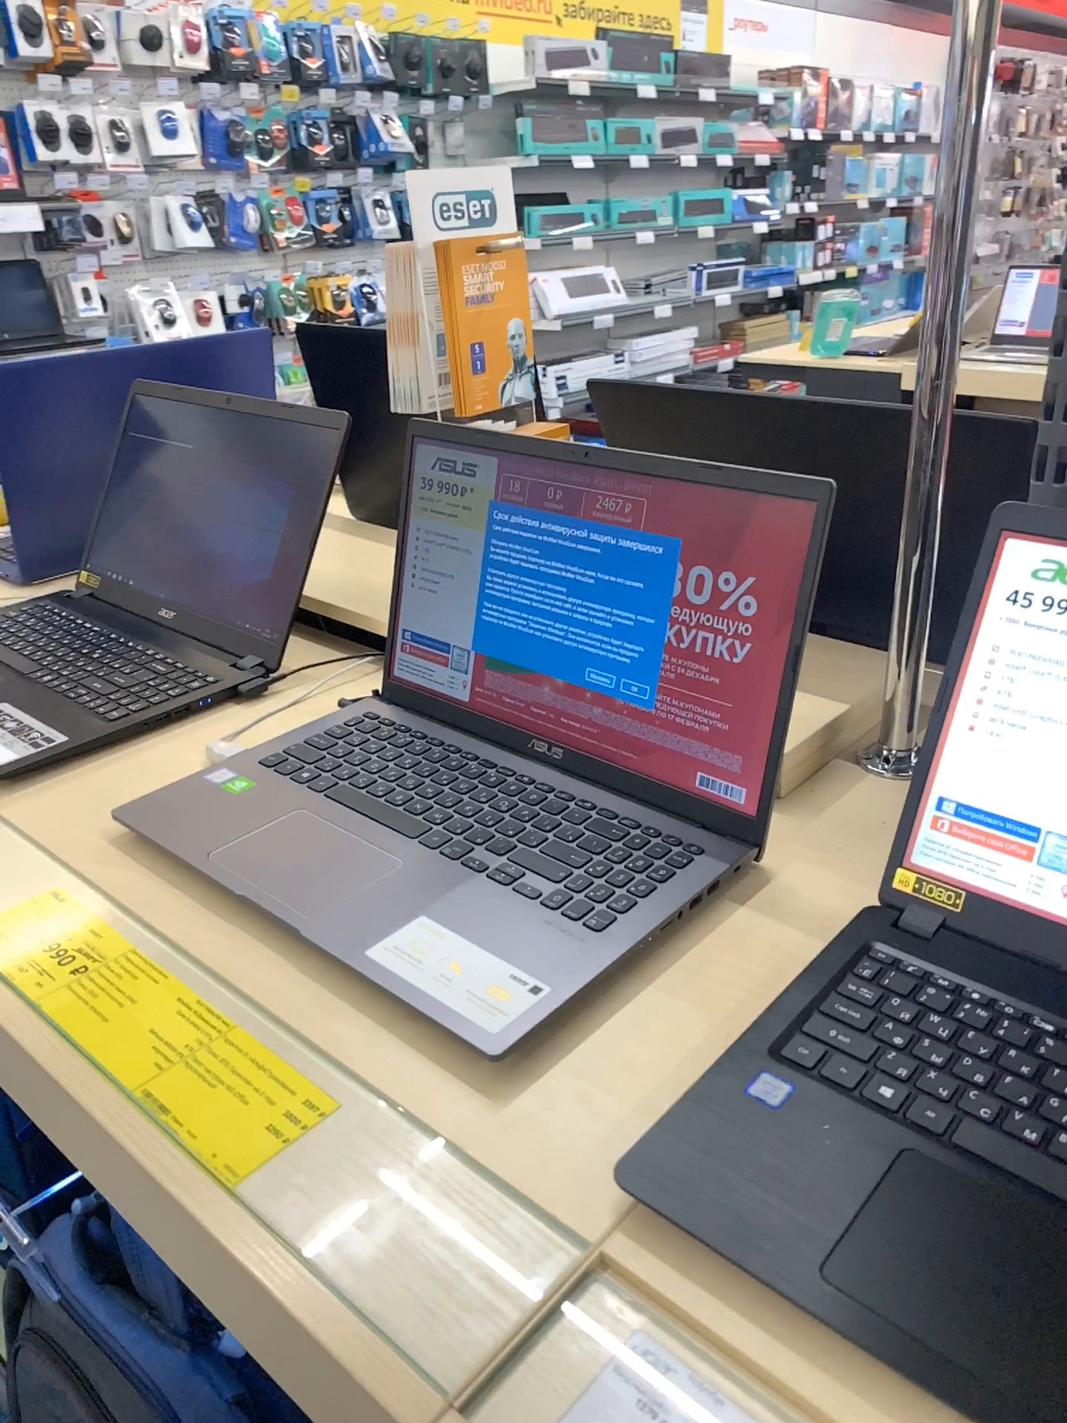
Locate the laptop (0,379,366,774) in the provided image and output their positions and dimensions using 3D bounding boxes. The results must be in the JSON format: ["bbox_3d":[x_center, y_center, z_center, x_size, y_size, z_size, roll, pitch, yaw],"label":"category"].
[{"bbox_3d":[-0.419,-0.155,0.992,0.351,0.214,0.362,20,32,38],"label":"laptop"}]

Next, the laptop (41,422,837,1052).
[{"bbox_3d":[-0.058,-0.032,0.689,0.367,0.217,0.298,19,32,38],"label":"laptop"}]
